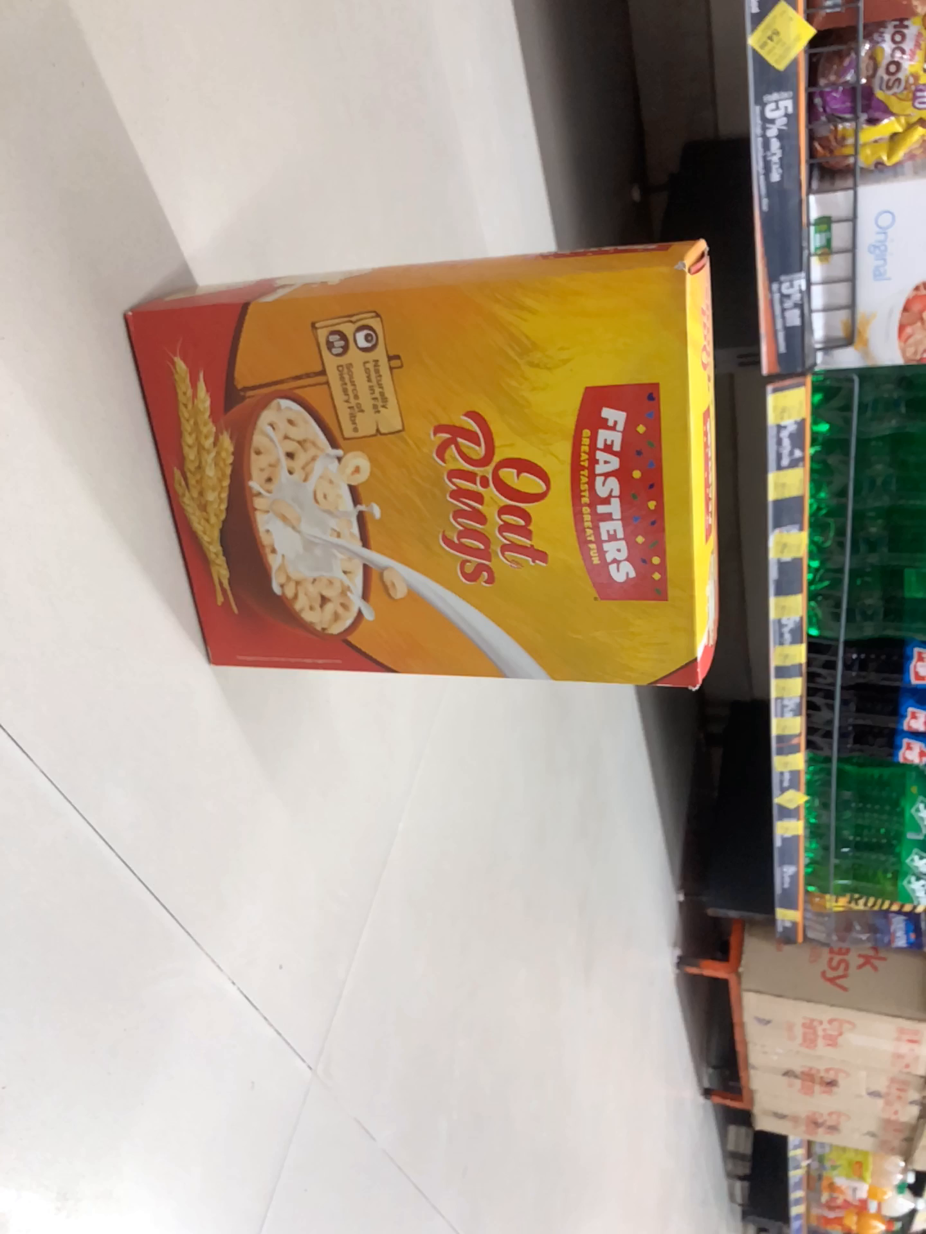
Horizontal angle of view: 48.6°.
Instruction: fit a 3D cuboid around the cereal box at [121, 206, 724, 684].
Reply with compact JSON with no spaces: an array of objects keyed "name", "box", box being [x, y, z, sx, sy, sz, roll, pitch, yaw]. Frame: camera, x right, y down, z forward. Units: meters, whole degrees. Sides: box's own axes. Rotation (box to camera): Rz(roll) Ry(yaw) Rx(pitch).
[{"name":"cereal box","box":[-0.008,-0.067,0.429,0.070,0.219,0.170,-54,141,-61]}]
